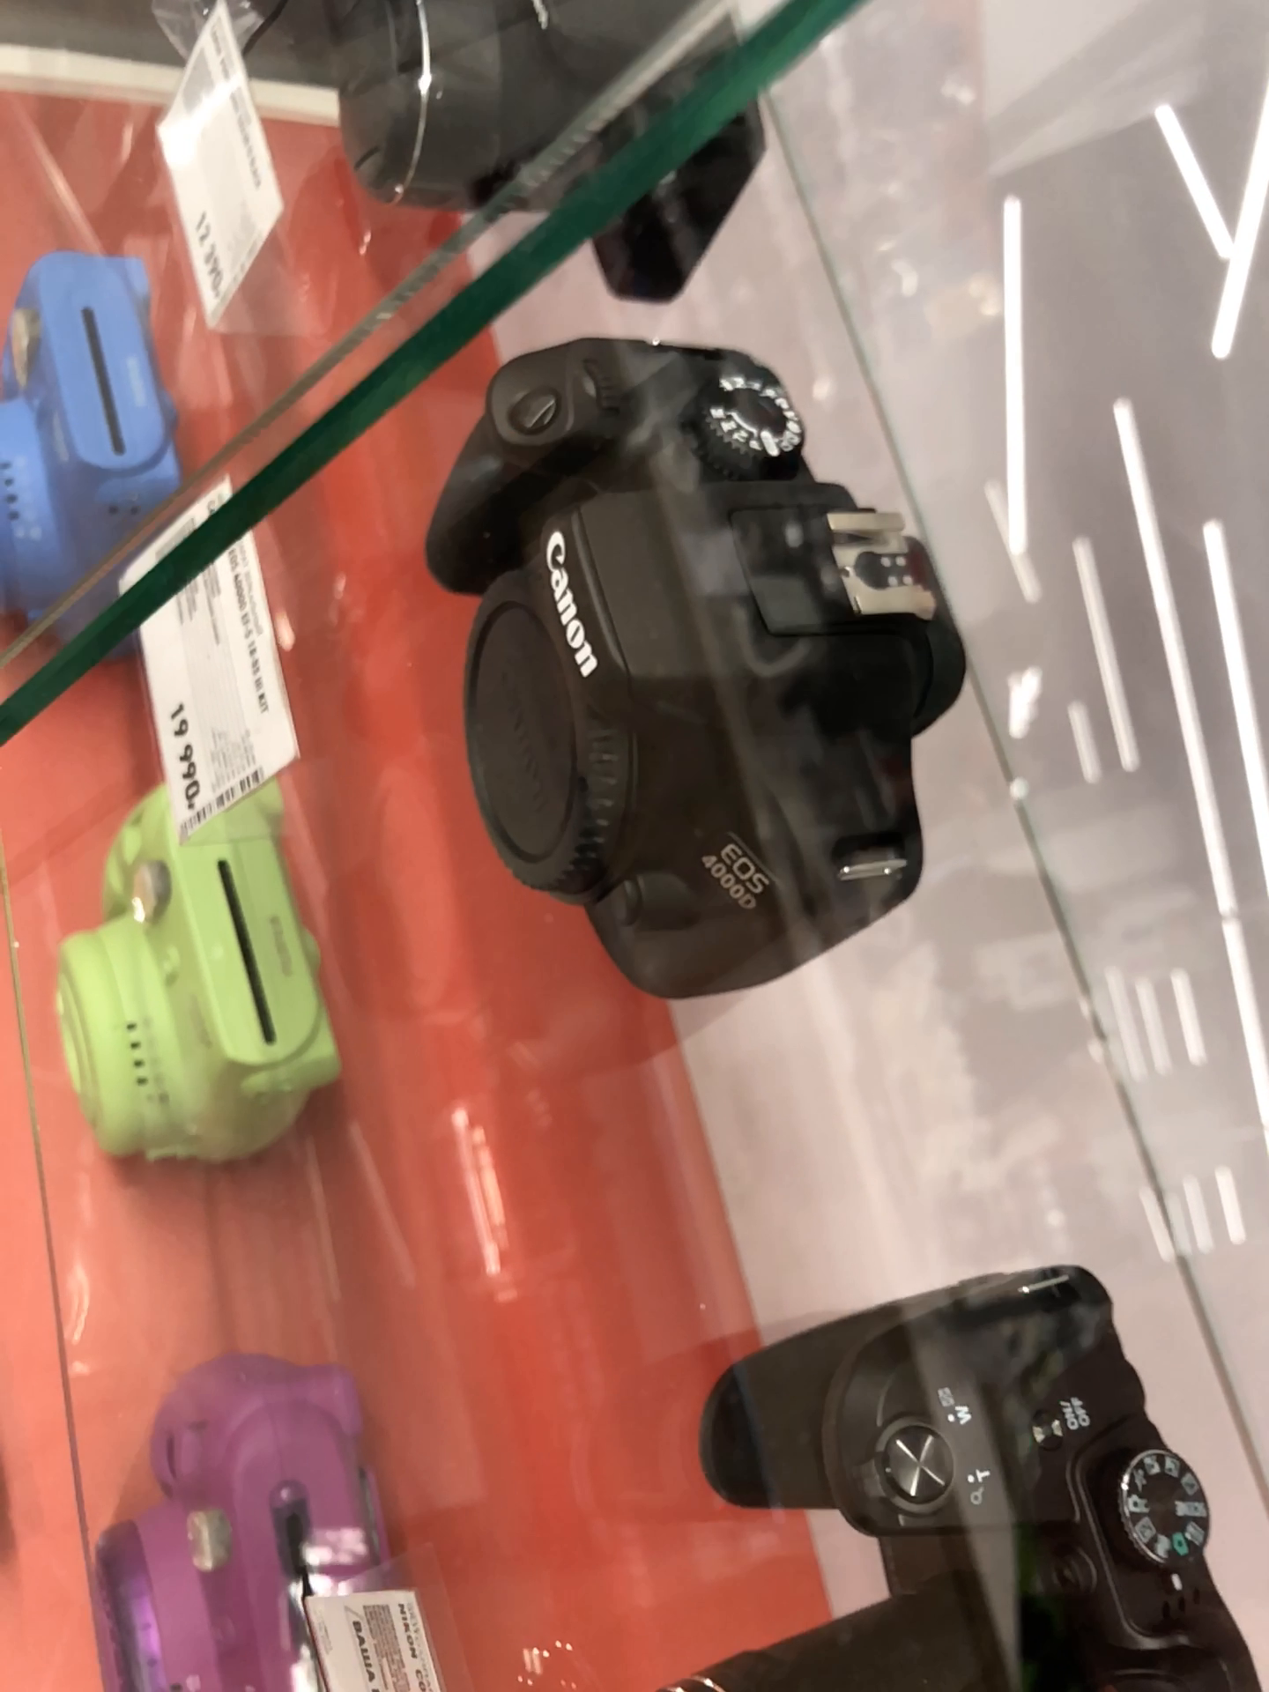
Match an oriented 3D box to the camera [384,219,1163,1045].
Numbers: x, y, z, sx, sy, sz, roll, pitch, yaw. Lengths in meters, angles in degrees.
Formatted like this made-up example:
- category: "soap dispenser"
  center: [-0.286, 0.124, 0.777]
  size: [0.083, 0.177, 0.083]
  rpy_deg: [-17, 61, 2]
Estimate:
- category: "camera"
  center: [0.021, -0.044, 0.299]
  size: [0.100, 0.083, 0.136]
  rpy_deg: [-9, 72, -27]
